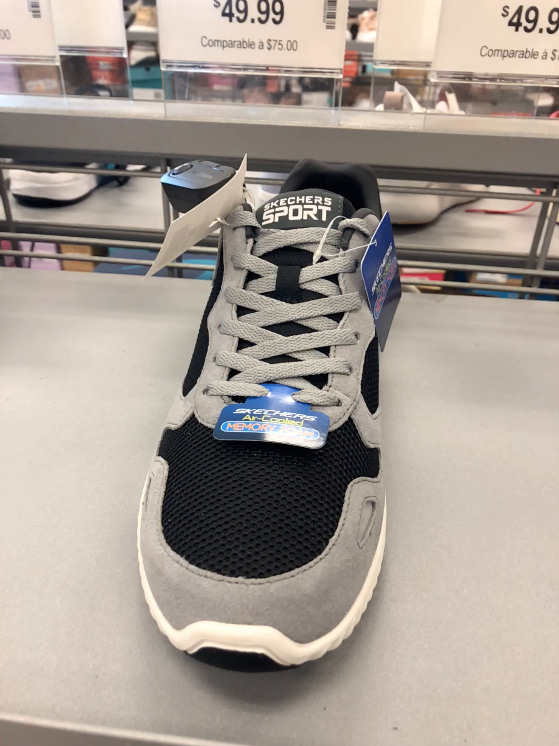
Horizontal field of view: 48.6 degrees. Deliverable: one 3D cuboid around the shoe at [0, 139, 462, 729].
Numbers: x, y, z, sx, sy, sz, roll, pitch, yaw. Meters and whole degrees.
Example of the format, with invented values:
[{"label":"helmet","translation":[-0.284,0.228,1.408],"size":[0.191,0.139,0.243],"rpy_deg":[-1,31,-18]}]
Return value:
[{"label":"shoe","translation":[0.011,-0.018,0.311],"size":[0.120,0.119,0.302],"rpy_deg":[8,33,8]}]
